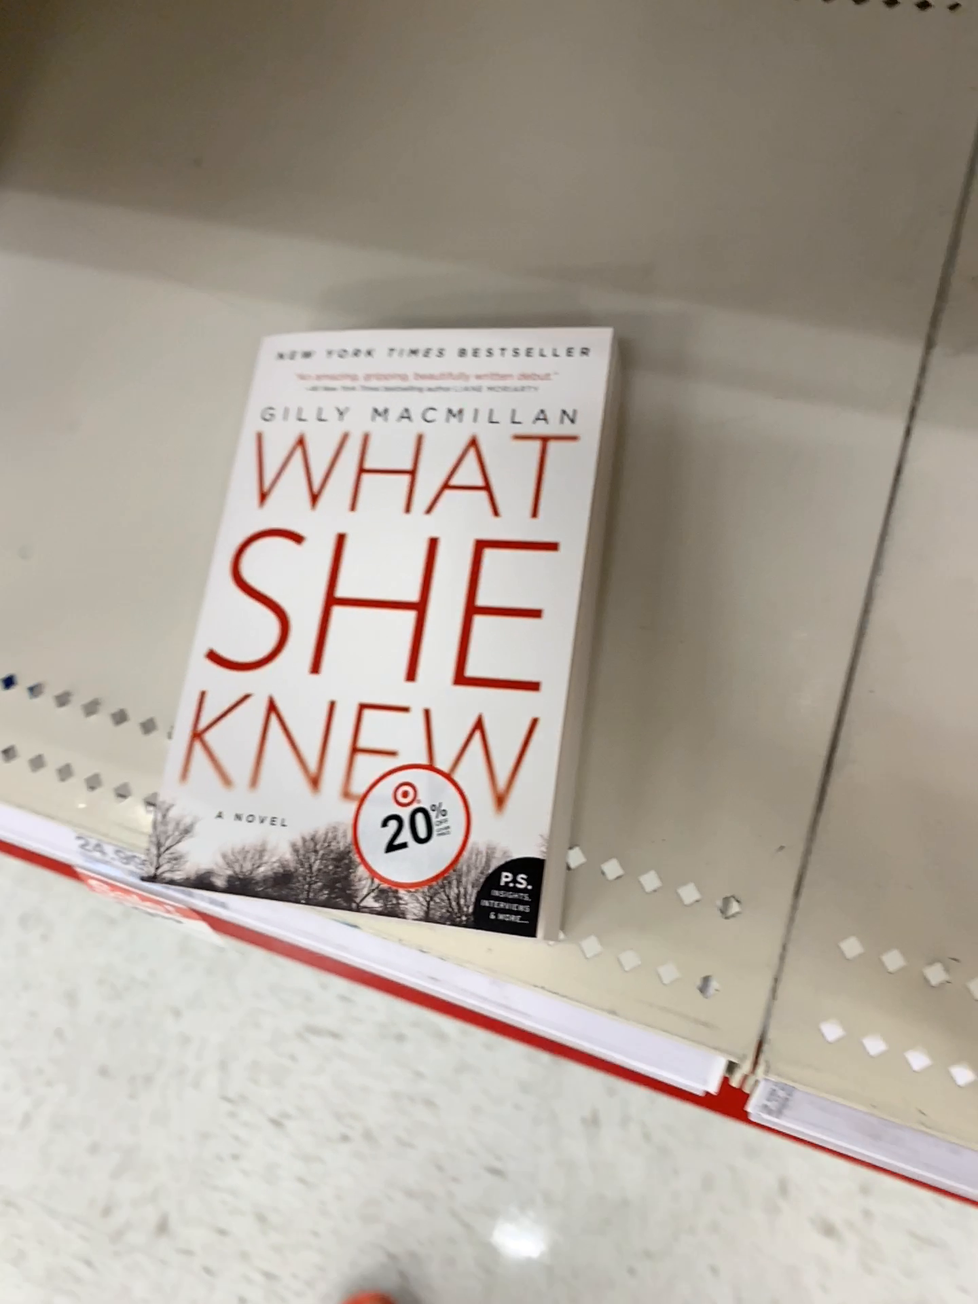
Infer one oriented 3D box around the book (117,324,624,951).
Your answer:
[{"bbox_3d":[-0.032,-0.012,0.340,0.130,0.041,0.197,4,73,15],"label":"book"}]
